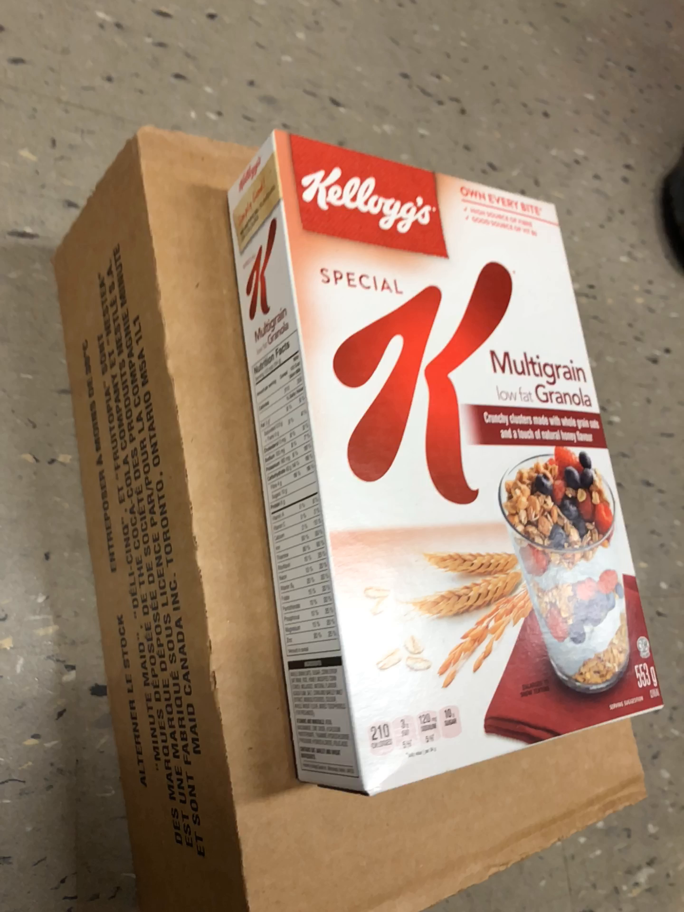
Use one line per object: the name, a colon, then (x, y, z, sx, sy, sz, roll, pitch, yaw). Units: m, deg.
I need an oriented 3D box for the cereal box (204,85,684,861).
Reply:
cereal box: (0.047, 0.000, 0.330, 0.181, 0.050, 0.270, 4, 70, -40)
